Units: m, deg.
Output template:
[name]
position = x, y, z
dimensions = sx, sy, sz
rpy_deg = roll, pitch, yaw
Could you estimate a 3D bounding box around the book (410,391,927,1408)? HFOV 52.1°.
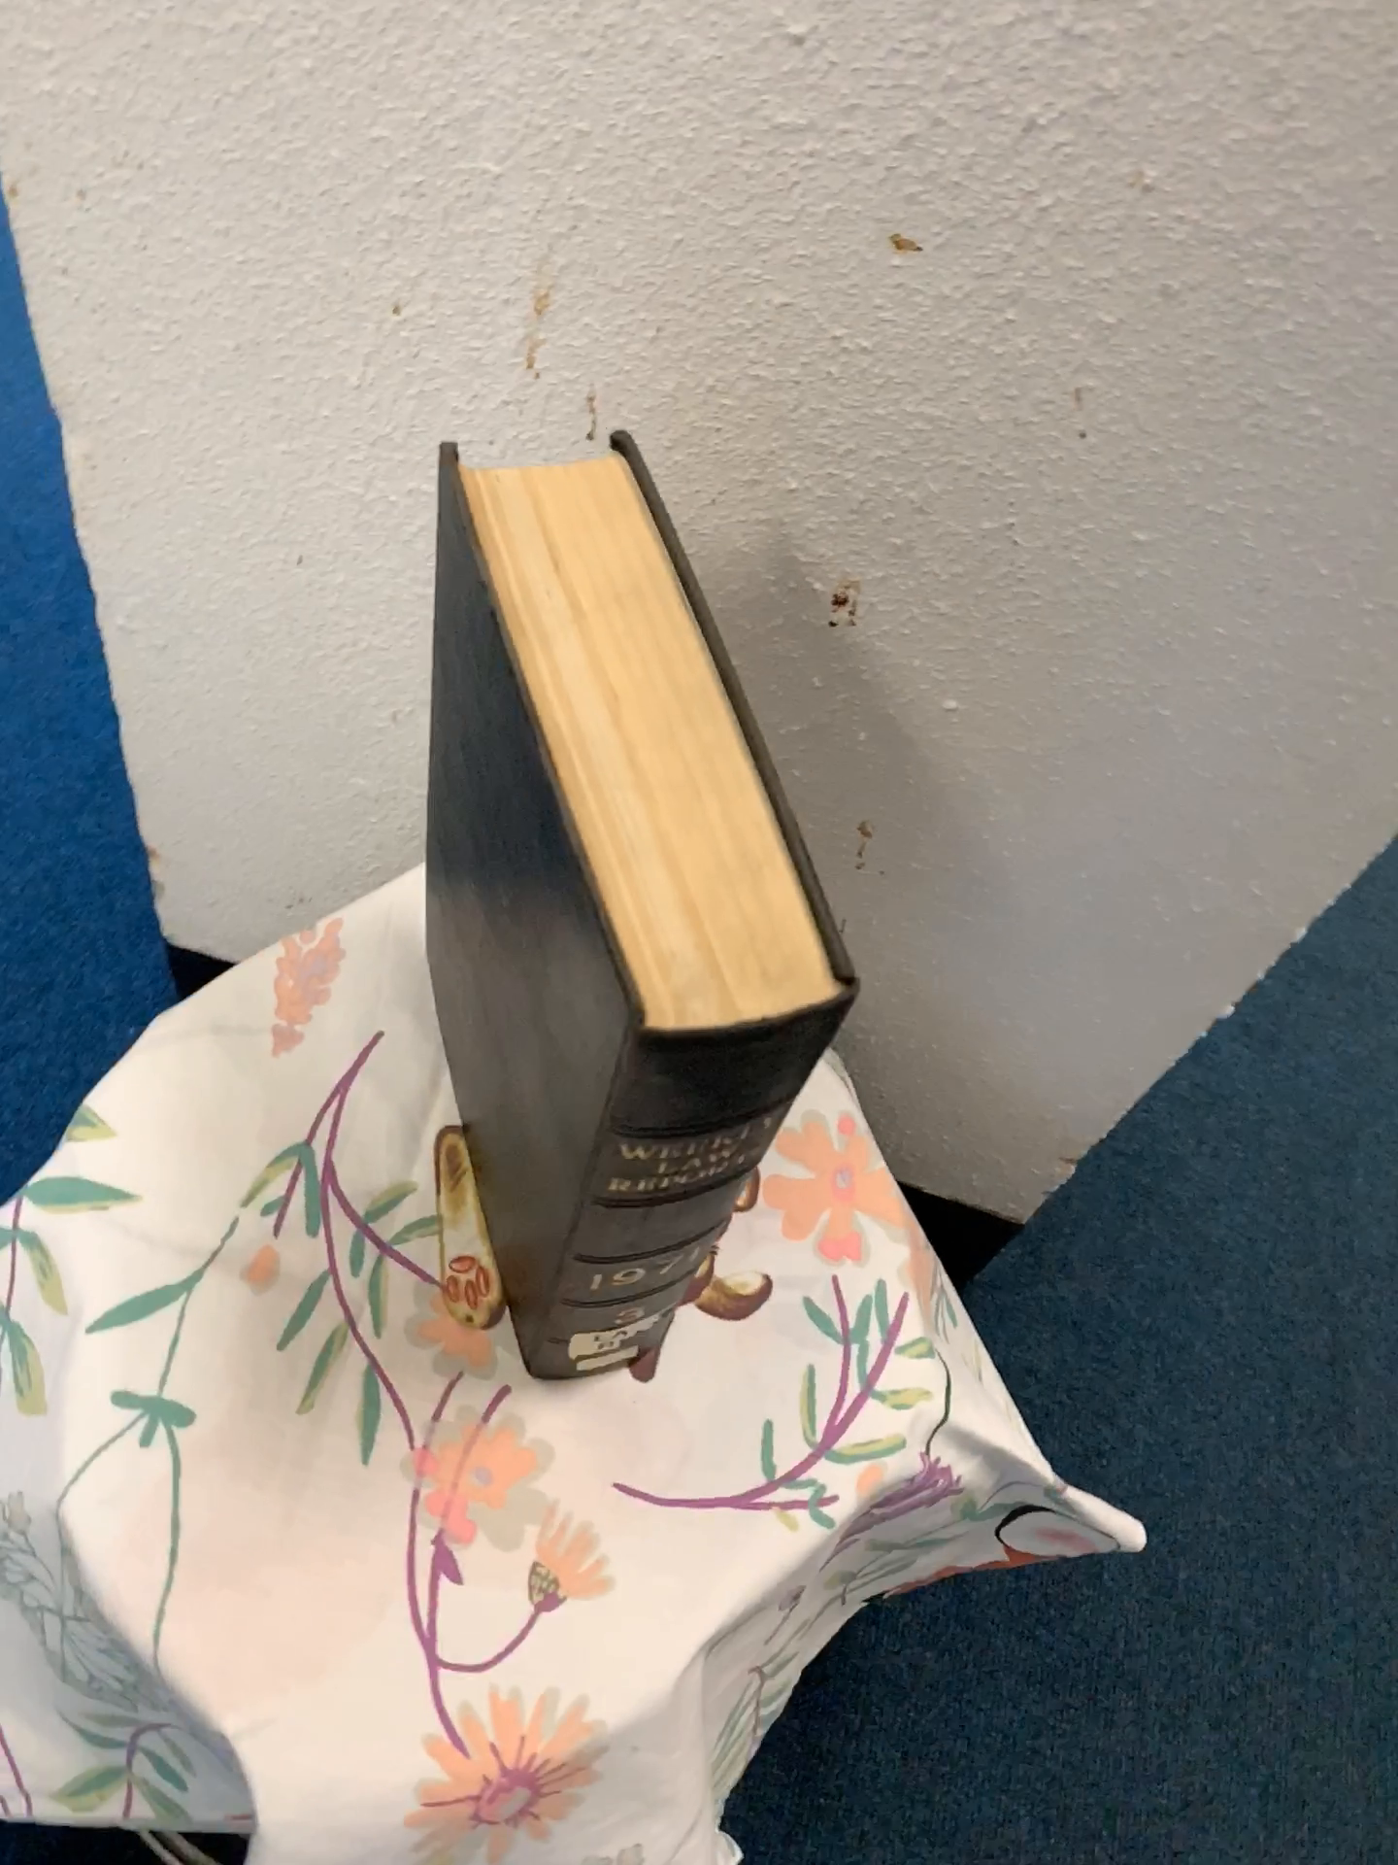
[book]
position = -0.032, 0.010, 0.390
dimensions = 0.052, 0.245, 0.162
rpy_deg = -11, 60, -19
